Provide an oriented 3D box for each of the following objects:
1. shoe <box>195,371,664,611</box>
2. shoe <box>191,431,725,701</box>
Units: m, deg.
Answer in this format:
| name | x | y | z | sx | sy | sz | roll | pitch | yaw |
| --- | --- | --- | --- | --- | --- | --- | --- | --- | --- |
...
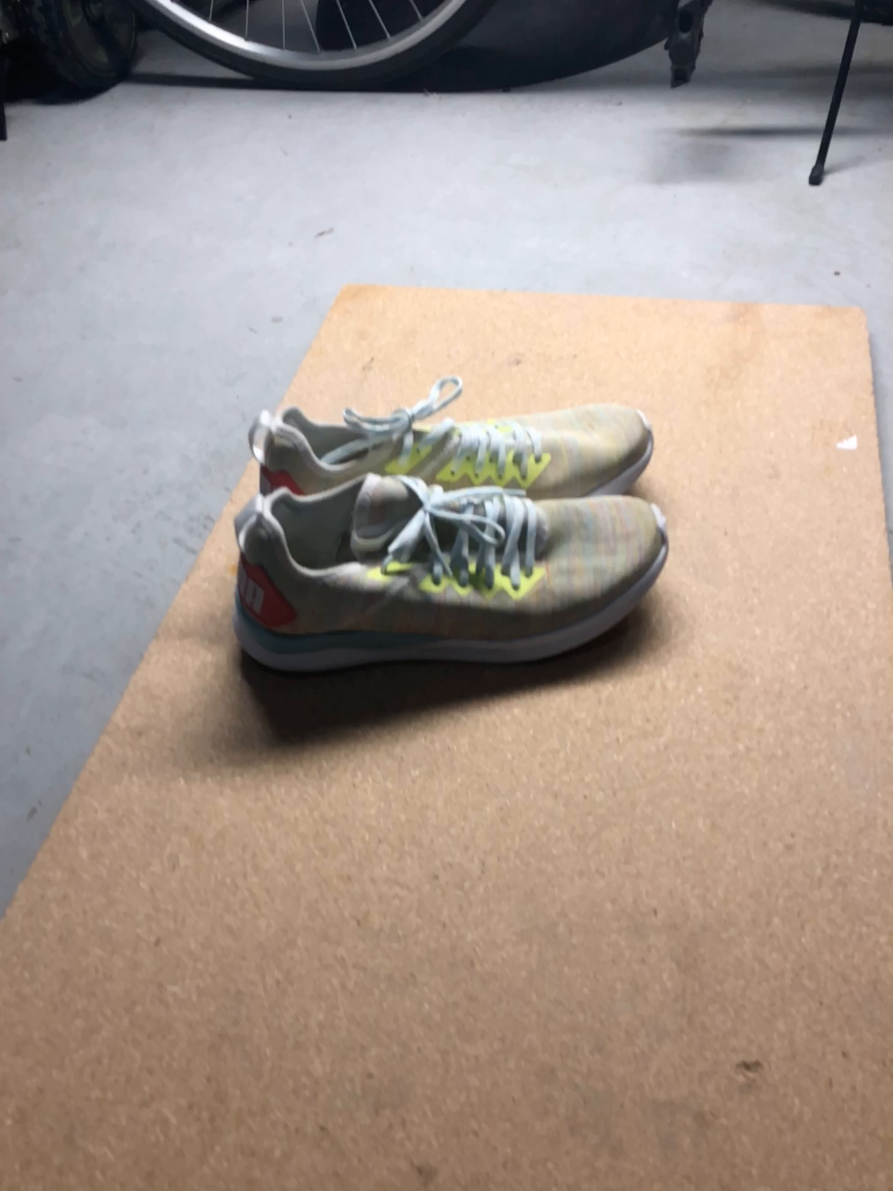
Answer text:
| name | x | y | z | sx | sy | sz | roll | pitch | yaw |
| --- | --- | --- | --- | --- | --- | --- | --- | --- | --- |
| shoe | -0.016 | -0.077 | 0.691 | 0.300 | 0.100 | 0.110 | -6 | 40 | -8 |
| shoe | 0.003 | -0.022 | 0.610 | 0.300 | 0.100 | 0.100 | -6 | 40 | -8 |
